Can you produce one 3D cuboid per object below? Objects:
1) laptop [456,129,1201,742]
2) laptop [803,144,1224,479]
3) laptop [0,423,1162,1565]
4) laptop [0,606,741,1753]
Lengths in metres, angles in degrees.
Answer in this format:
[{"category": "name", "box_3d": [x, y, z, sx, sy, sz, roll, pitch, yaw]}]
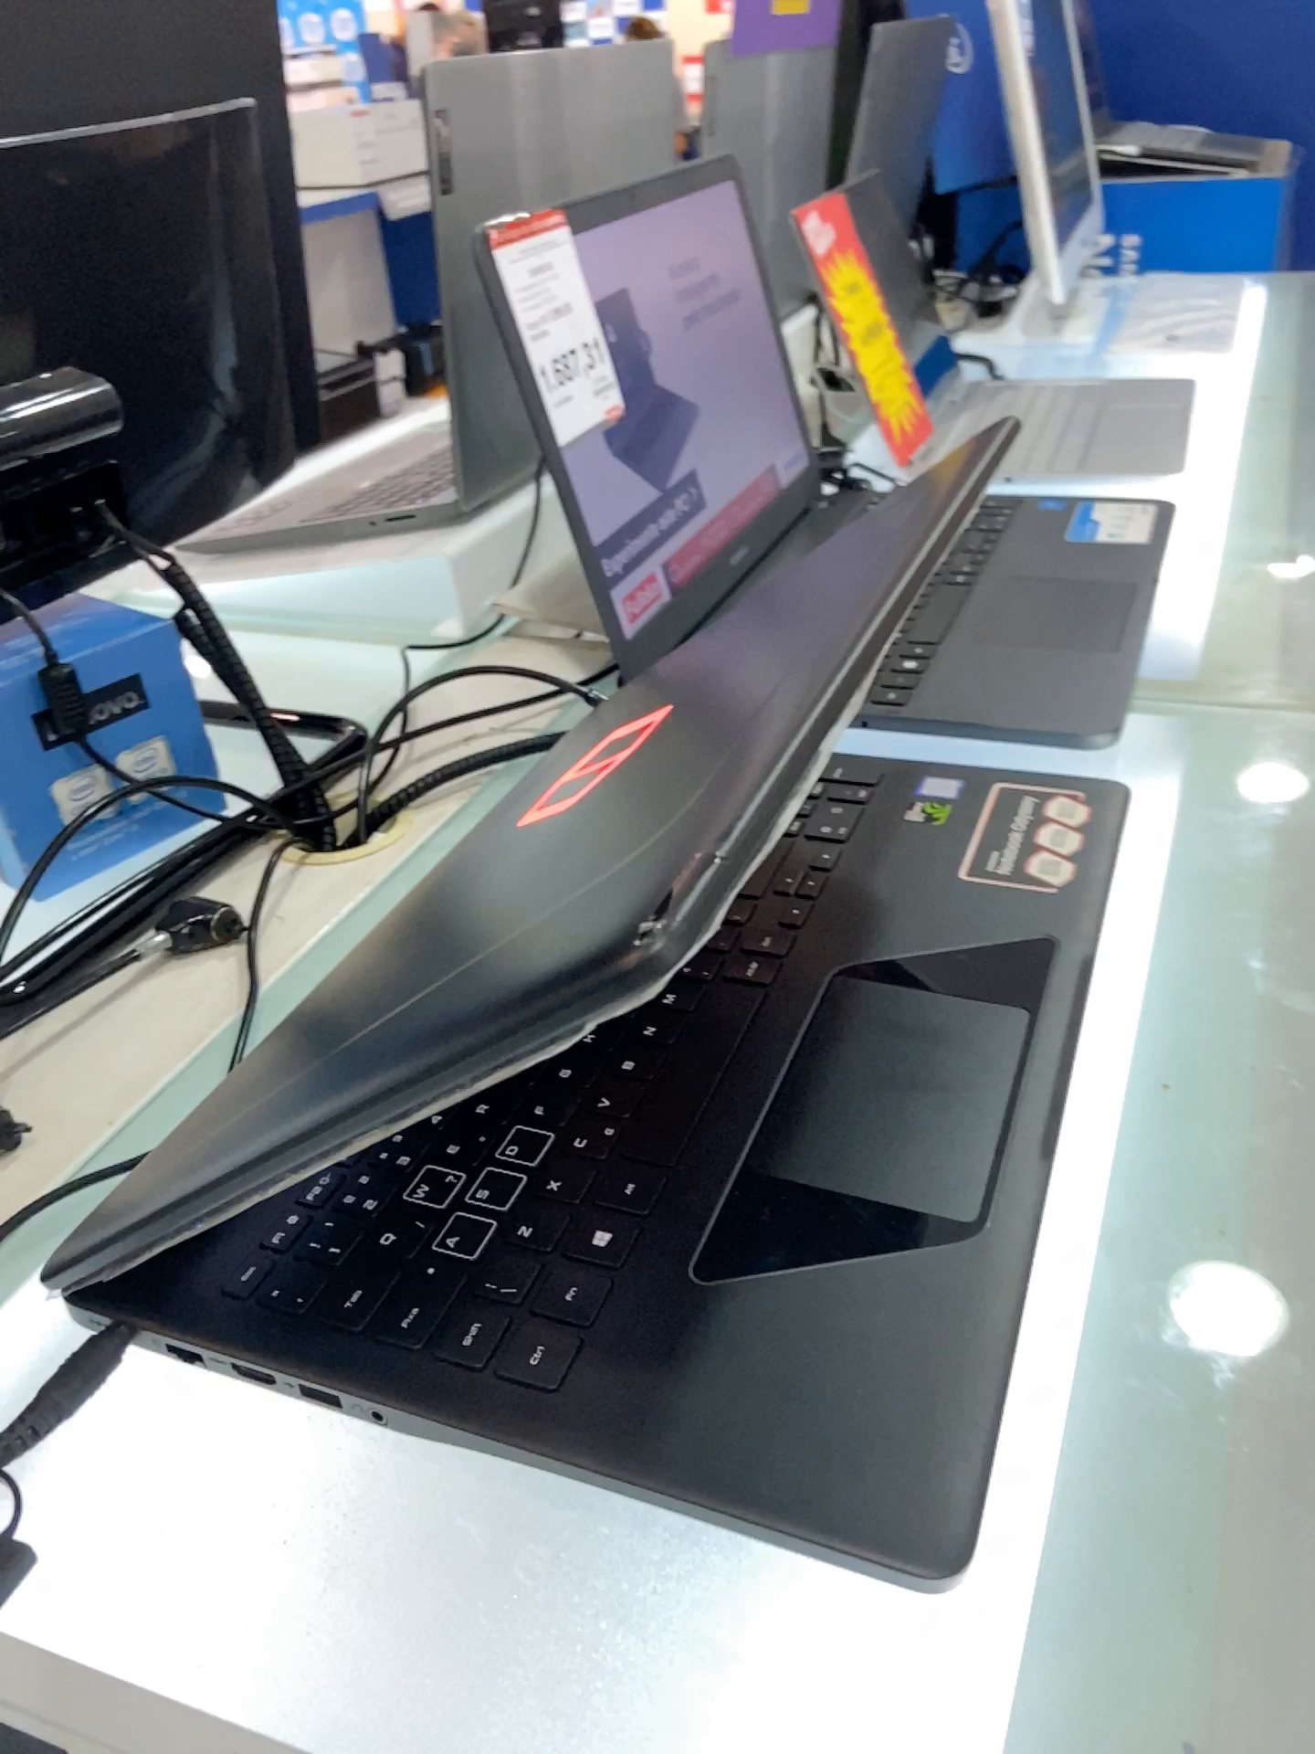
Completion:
[{"category": "laptop", "box_3d": [0.132, -0.281, 0.788, 0.307, 0.234, 0.415, 7, 32, 21]}, {"category": "laptop", "box_3d": [0.319, -0.499, 1.189, 0.298, 0.202, 0.309, 6, 34, 20]}, {"category": "laptop", "box_3d": [0.005, -0.024, 0.445, 0.258, 0.152, 0.369, 7, 33, 22]}, {"category": "laptop", "box_3d": [-0.234, 0.184, 0.071, 0.344, 0.223, 0.433, 8, 34, 21]}]
